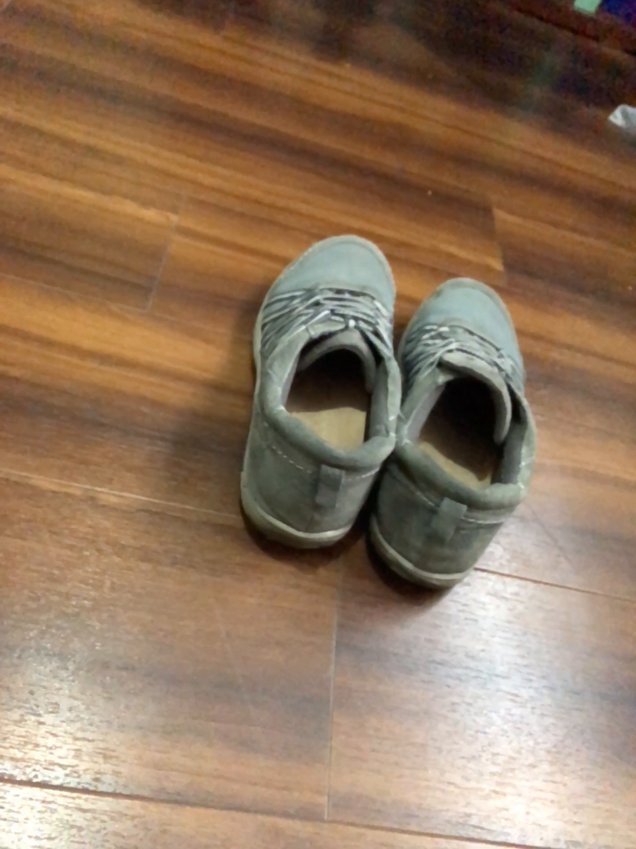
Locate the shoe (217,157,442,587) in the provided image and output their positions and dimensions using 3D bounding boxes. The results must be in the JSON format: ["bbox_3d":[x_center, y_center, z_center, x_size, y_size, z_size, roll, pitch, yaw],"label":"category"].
[{"bbox_3d":[0.012,-0.049,0.490,0.100,0.109,0.282,14,49,-9],"label":"shoe"}]

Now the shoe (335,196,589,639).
[{"bbox_3d":[0.107,-0.020,0.482,0.100,0.109,0.282,22,48,-3],"label":"shoe"}]
